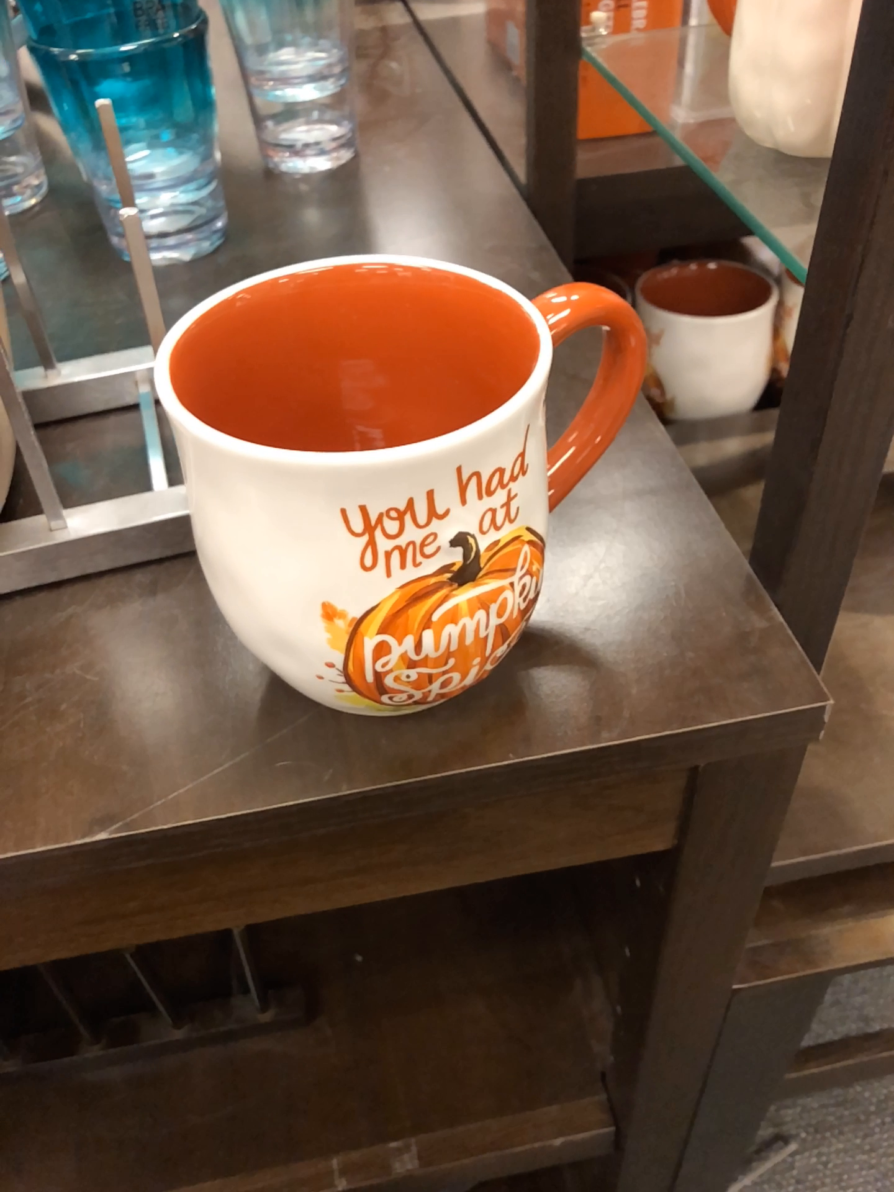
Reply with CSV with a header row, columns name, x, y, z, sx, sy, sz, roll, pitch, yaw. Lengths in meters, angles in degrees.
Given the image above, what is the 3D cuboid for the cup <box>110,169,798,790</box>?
name,x,y,z,sx,sy,sz,roll,pitch,yaw
cup,0.003,-0.041,0.287,0.143,0.094,0.102,-27,48,-21
